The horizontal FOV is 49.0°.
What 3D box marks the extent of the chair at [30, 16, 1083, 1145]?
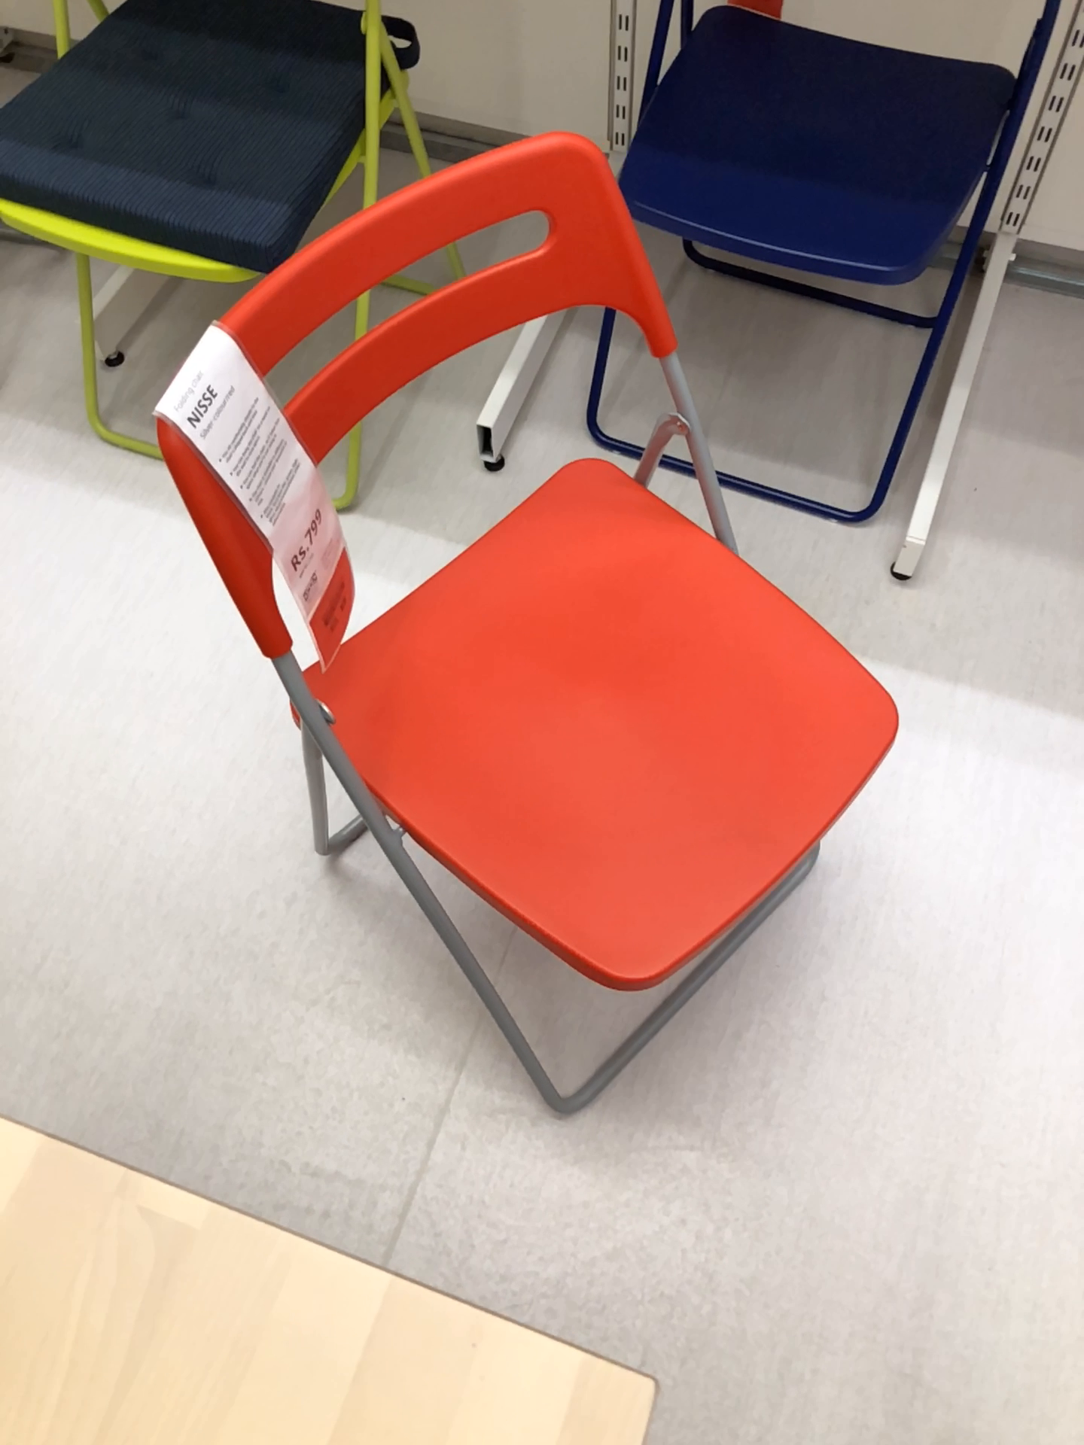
[{"bbox_3d":[0.034,-0.042,0.942,0.441,0.677,0.421,-41,68,-19],"label":"chair"}]
